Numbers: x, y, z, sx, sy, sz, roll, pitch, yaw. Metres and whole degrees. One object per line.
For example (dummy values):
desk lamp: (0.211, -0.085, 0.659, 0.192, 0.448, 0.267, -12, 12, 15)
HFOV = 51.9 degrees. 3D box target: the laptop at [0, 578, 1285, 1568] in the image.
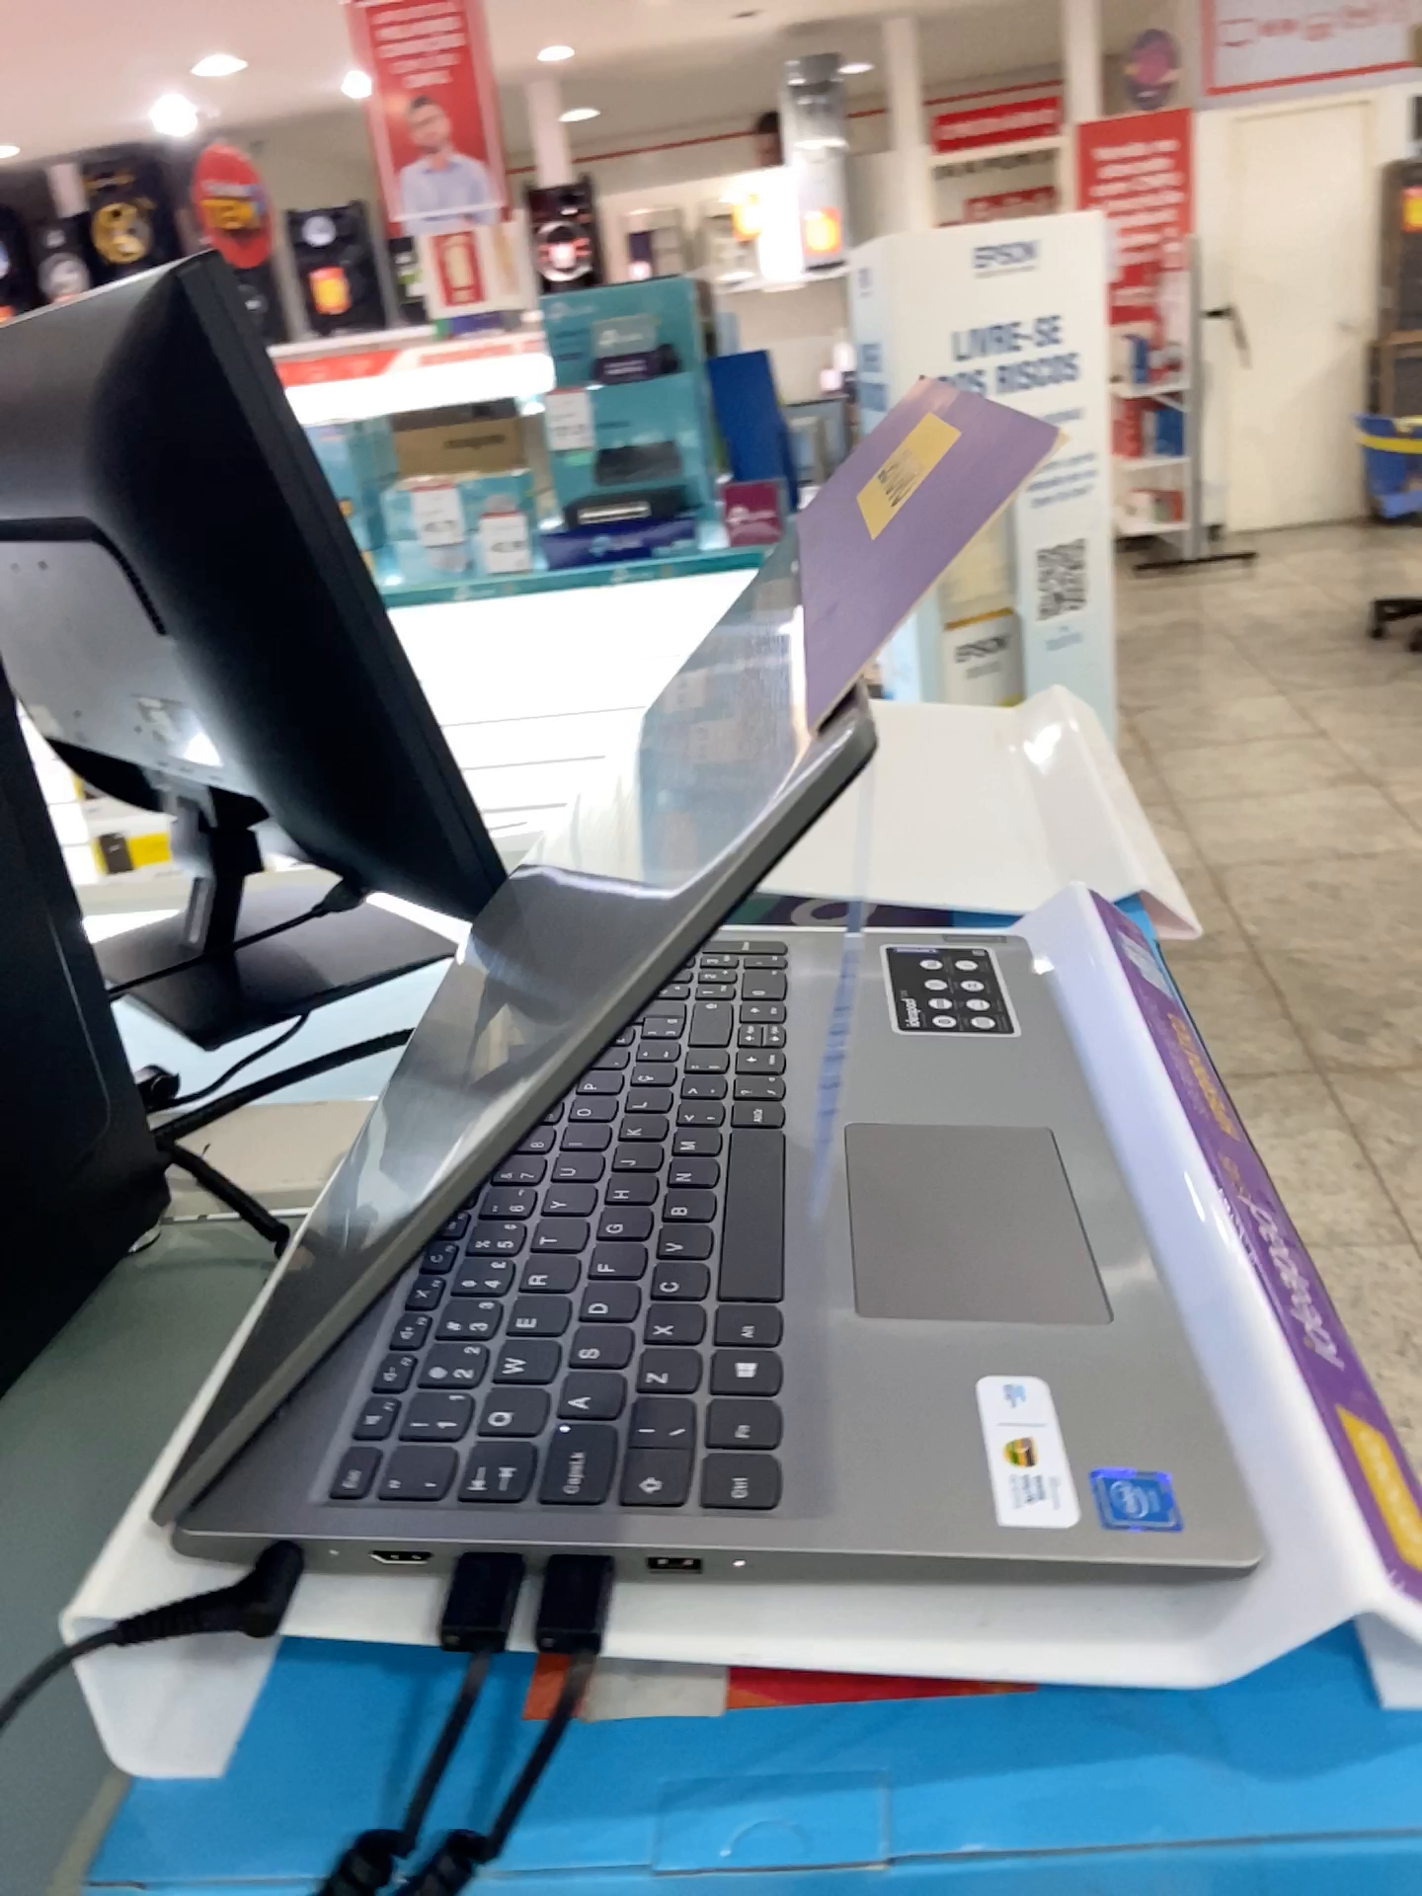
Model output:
laptop: (-0.001, -0.009, 0.456, 0.243, 0.162, 0.358, -1, 21, 4)
